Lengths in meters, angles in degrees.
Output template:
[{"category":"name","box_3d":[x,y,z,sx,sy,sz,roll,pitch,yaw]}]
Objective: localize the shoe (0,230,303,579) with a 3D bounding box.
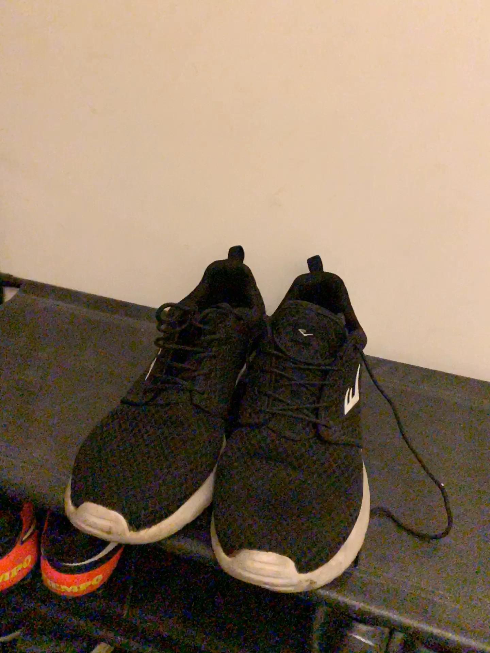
[{"category":"shoe","box_3d":[-0.044,0.027,0.419,0.110,0.099,0.303,13,33,14]}]

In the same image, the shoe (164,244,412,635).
[{"category":"shoe","box_3d":[0.056,0.045,0.397,0.120,0.099,0.303,12,33,12]}]
